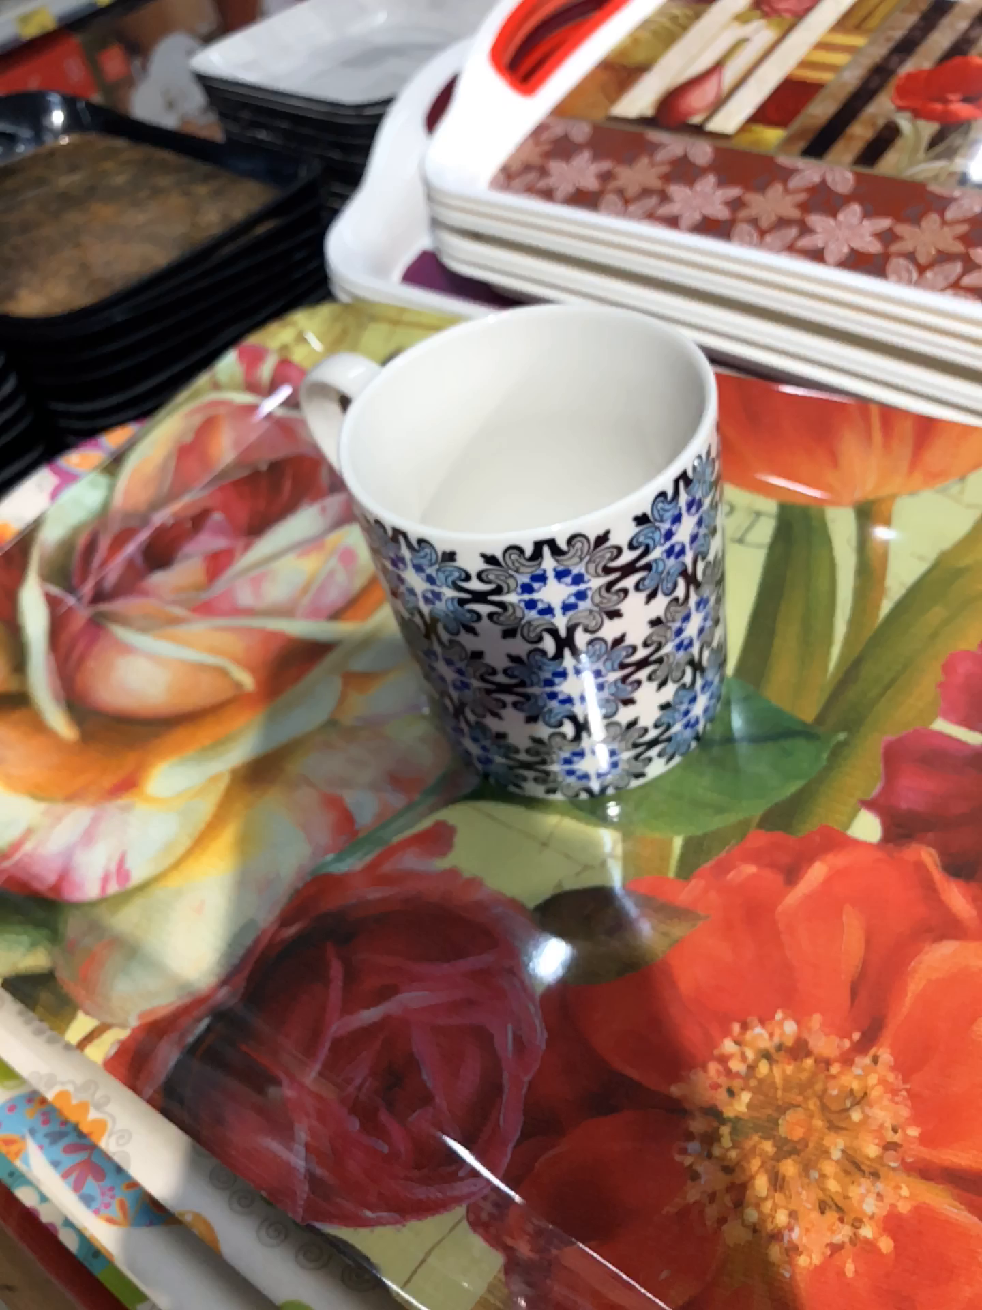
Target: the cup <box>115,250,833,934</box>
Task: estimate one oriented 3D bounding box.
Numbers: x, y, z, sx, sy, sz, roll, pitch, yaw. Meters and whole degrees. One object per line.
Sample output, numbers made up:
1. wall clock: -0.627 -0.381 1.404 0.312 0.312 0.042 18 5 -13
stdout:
1. cup: 0.000 -0.021 0.276 0.130 0.099 0.090 25 56 30
